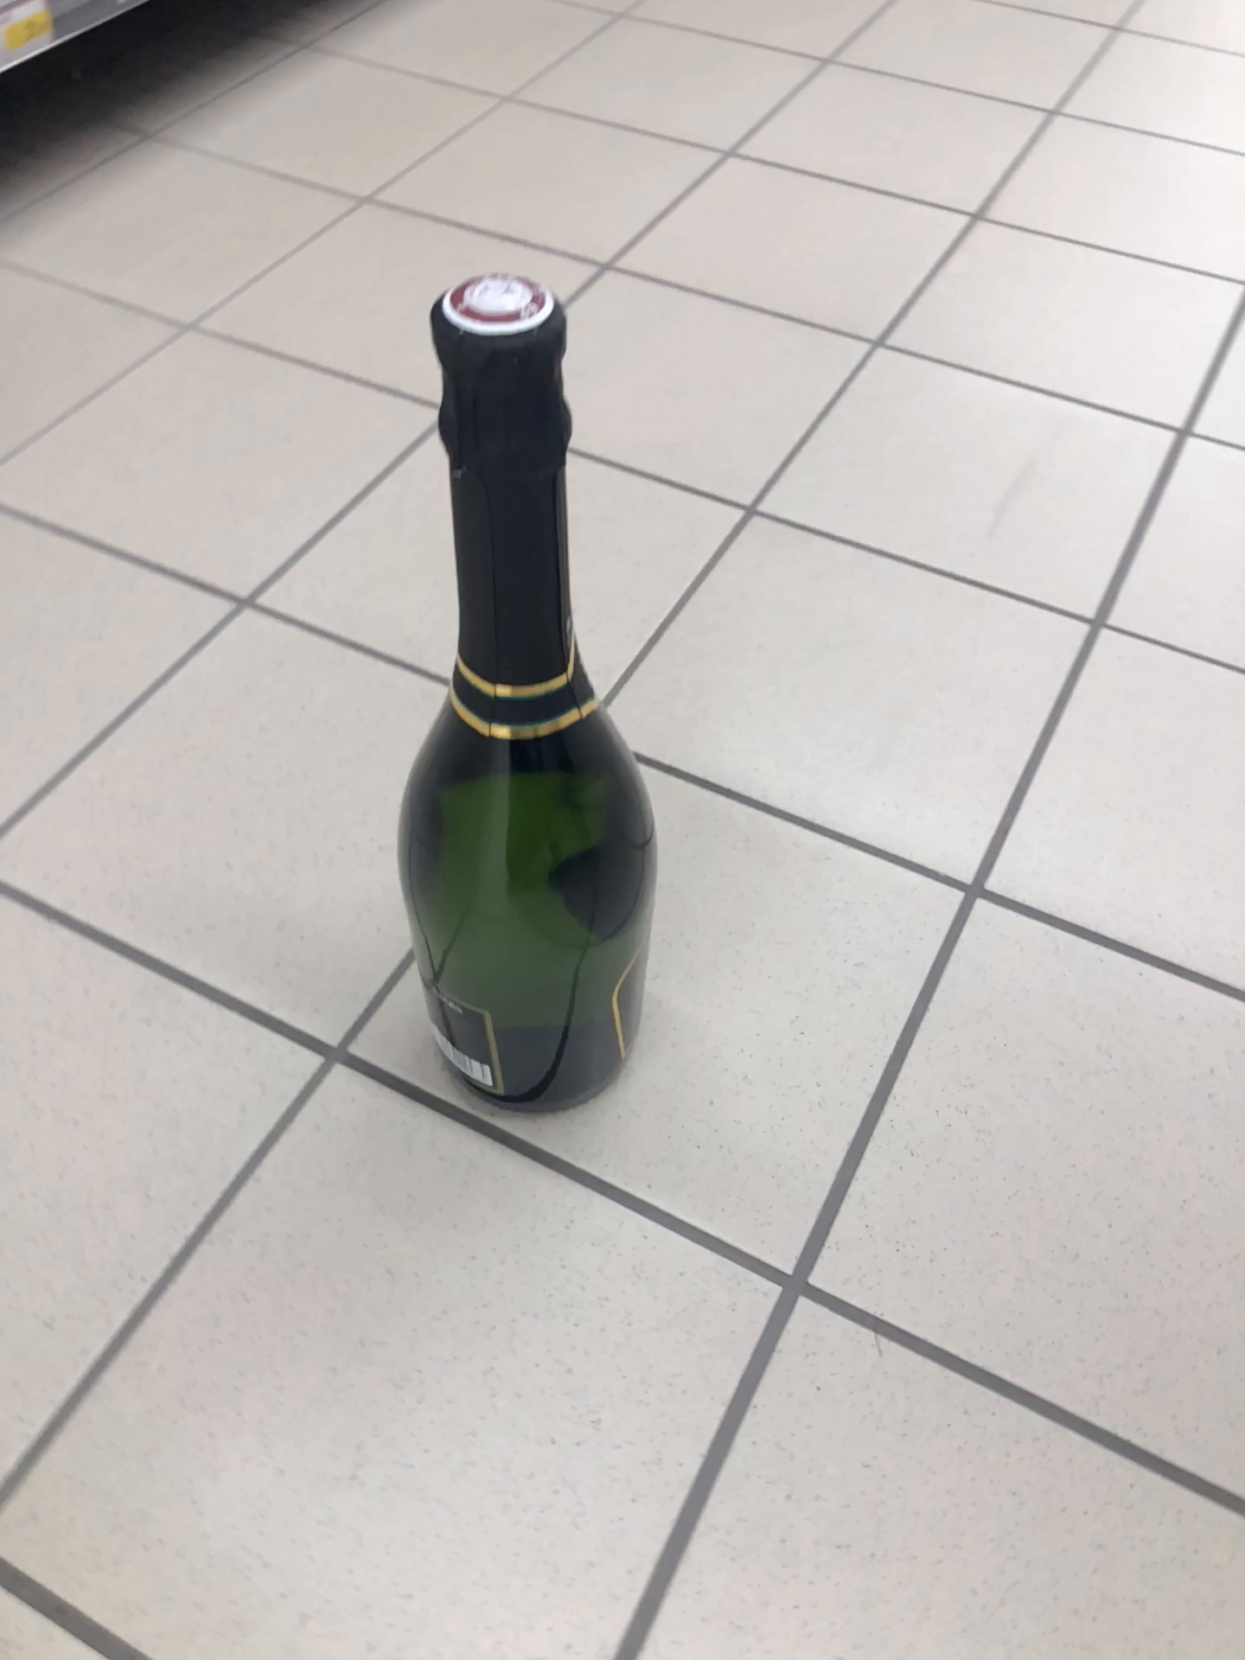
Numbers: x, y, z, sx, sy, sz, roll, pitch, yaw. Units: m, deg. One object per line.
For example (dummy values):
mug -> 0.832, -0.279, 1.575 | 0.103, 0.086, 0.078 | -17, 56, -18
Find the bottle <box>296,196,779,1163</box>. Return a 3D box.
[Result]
bottle -> -0.026, -0.020, 0.433 | 0.090, 0.308, 0.090 | 1, 49, -1
